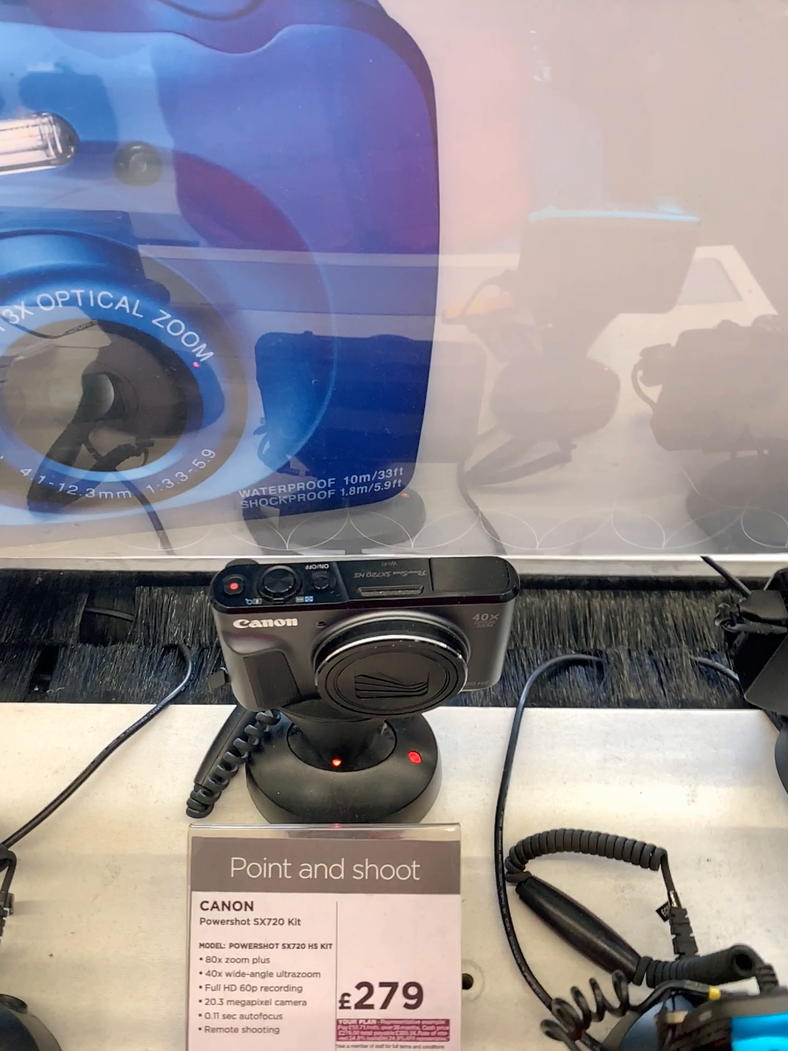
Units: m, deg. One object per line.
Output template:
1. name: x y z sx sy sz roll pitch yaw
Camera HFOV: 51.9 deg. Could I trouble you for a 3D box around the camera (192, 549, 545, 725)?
1. camera: -0.009 0.041 0.290 0.113 0.061 0.031 -2 49 -2
